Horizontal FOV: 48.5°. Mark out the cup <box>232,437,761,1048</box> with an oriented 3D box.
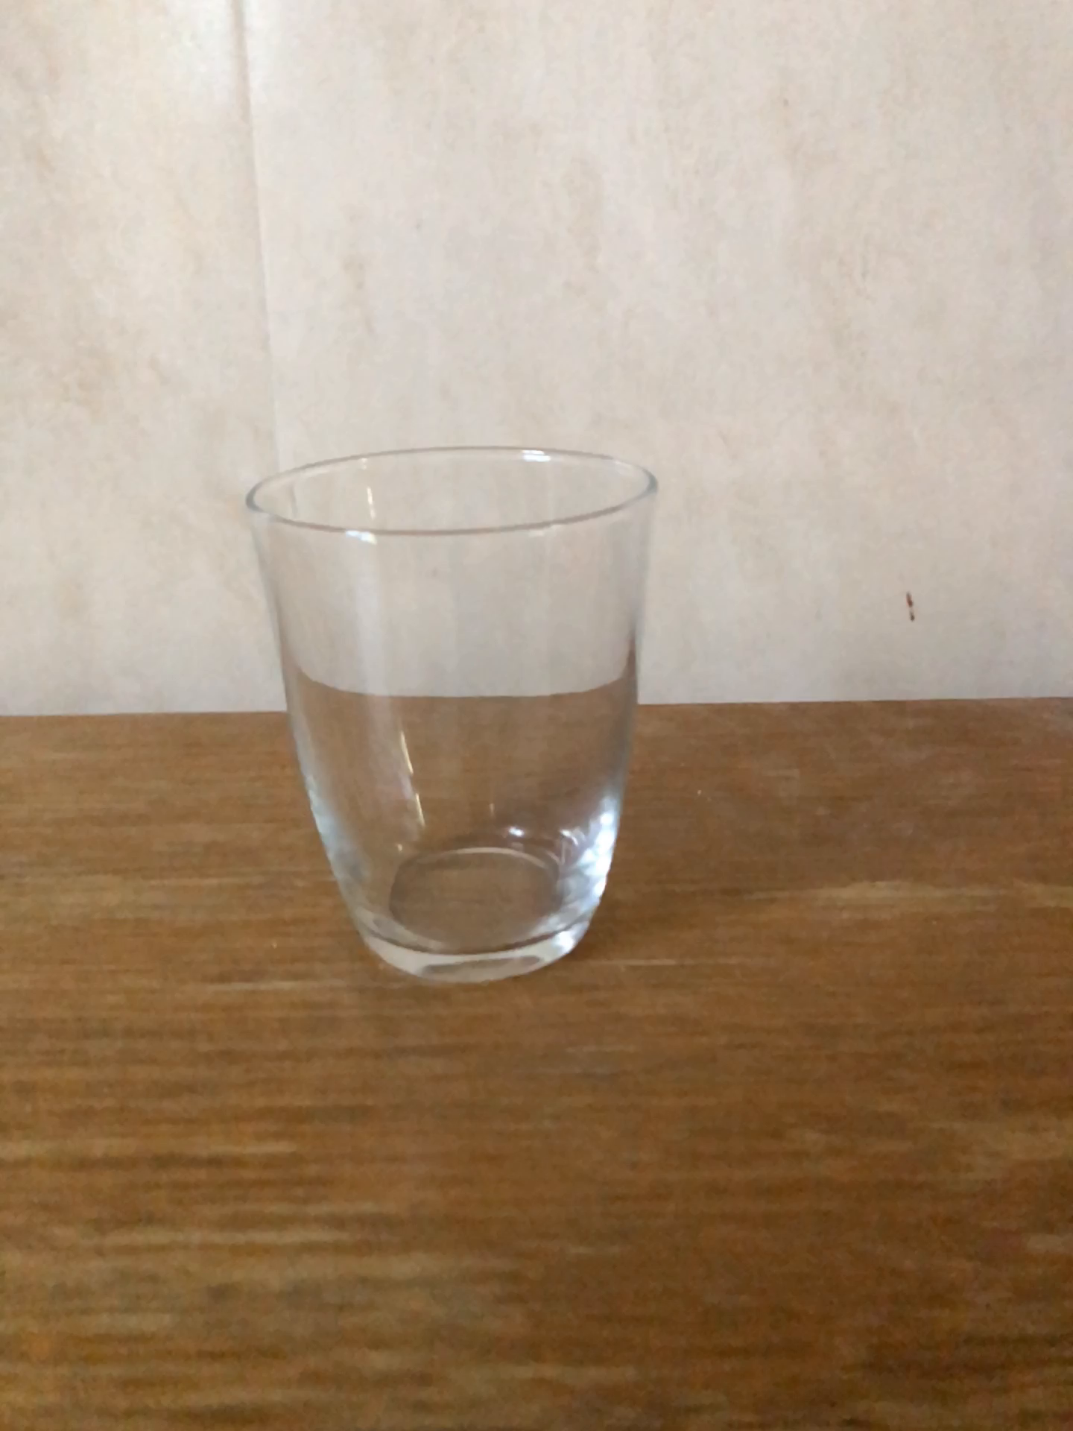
[{"bbox_3d":[-0.011,-0.002,0.211,0.070,0.080,0.070,0,21,0],"label":"cup"}]
